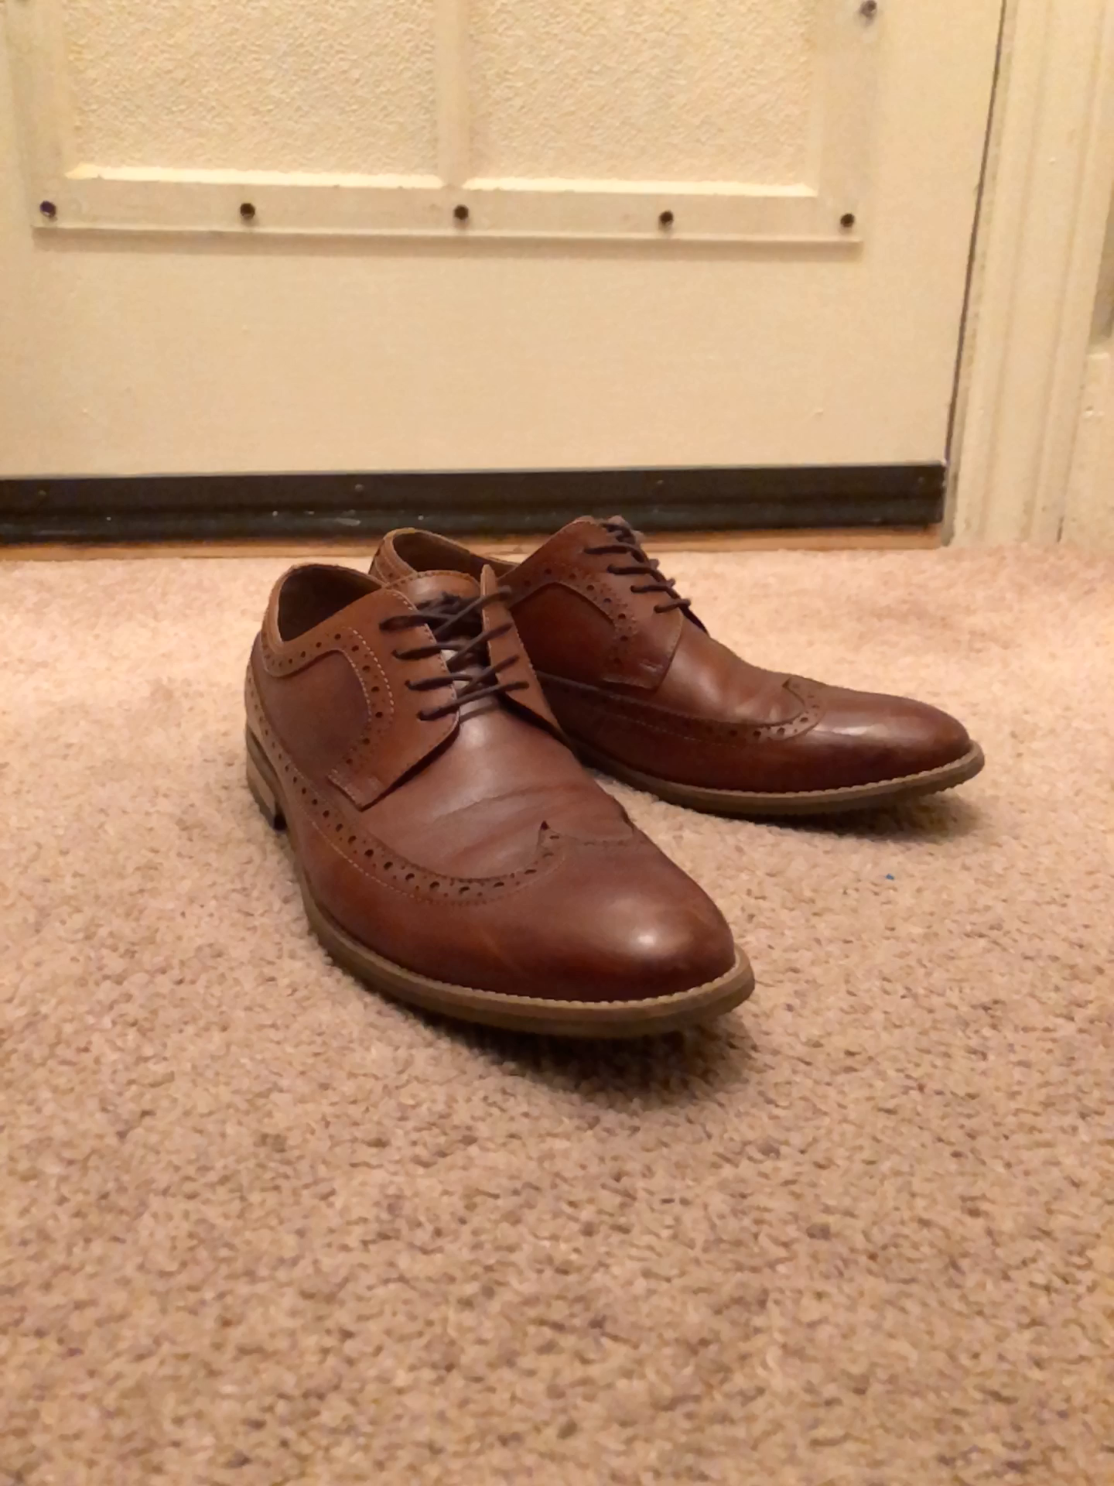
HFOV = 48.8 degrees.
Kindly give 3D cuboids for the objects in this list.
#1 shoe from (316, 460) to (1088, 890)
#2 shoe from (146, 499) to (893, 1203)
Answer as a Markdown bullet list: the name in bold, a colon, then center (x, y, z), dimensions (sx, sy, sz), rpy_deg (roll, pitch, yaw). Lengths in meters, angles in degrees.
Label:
- **shoe**: center (0.053, -0.048, 0.547), dimensions (0.310, 0.114, 0.115), rpy_deg (13, 24, 28)
- **shoe**: center (-0.043, 0.000, 0.434), dimensions (0.115, 0.114, 0.311), rpy_deg (-11, 24, -29)
